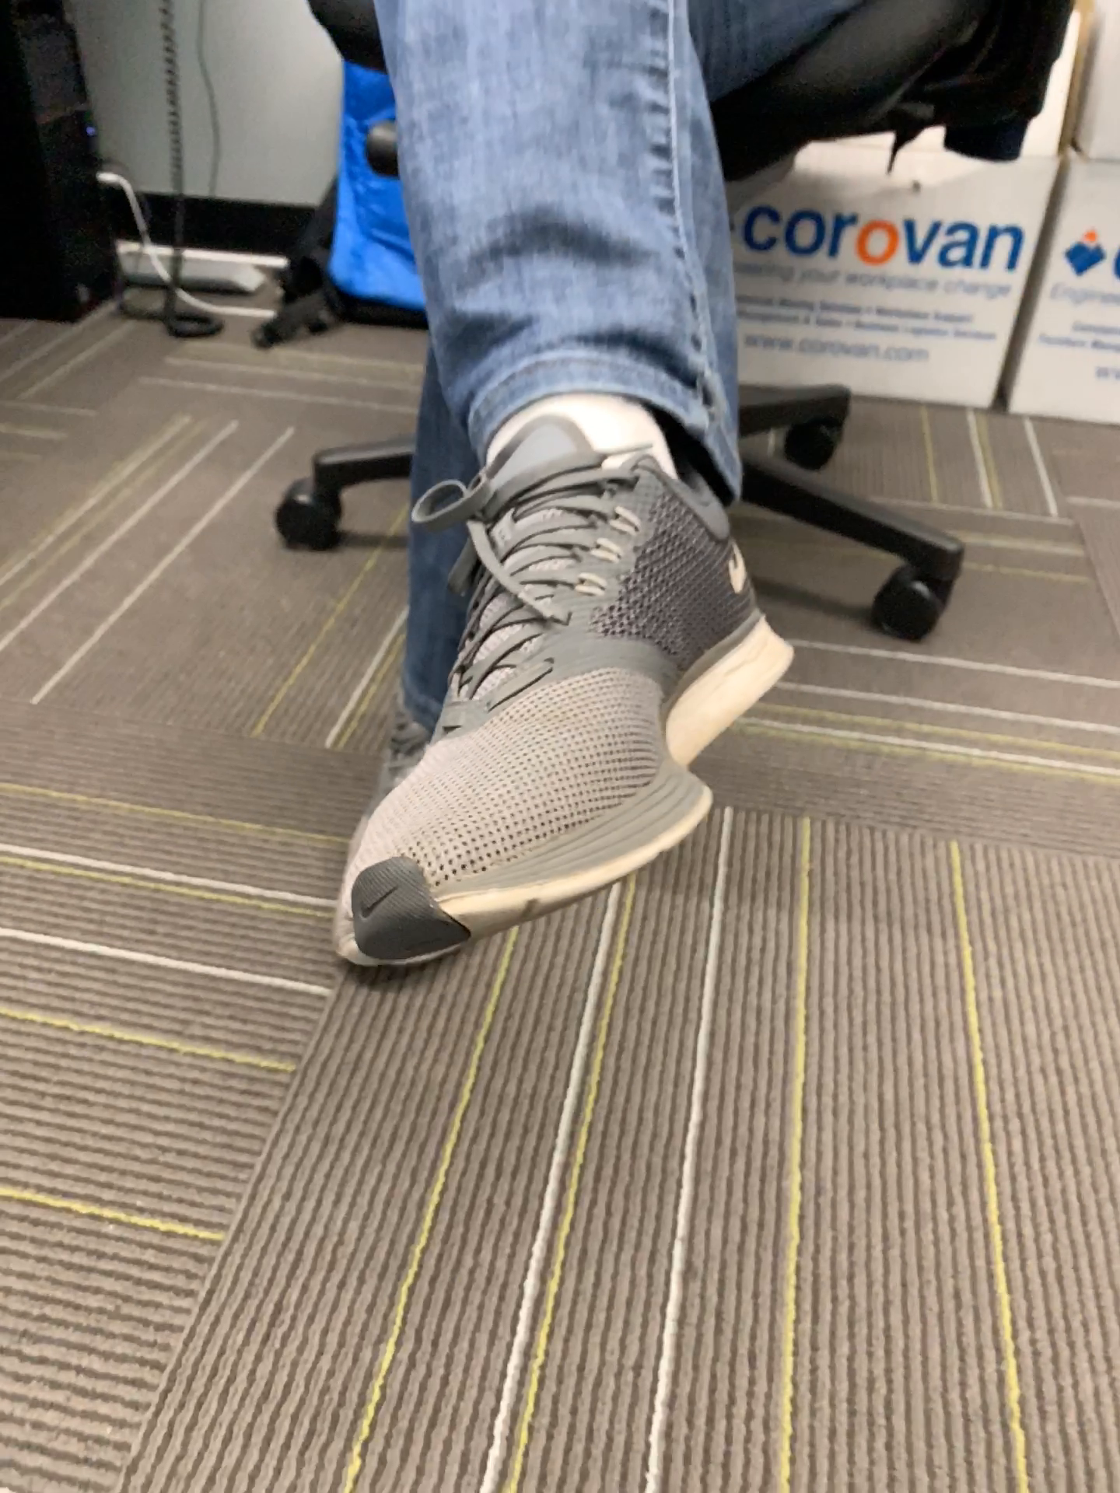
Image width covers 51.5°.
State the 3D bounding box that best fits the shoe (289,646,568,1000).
[{"bbox_3d":[-0.083,0.043,0.848,0.120,0.085,0.270,10,38,9],"label":"shoe"}]

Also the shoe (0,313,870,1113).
[{"bbox_3d":[-0.010,-0.036,0.413,0.122,0.142,0.296,-25,12,35],"label":"shoe"}]
